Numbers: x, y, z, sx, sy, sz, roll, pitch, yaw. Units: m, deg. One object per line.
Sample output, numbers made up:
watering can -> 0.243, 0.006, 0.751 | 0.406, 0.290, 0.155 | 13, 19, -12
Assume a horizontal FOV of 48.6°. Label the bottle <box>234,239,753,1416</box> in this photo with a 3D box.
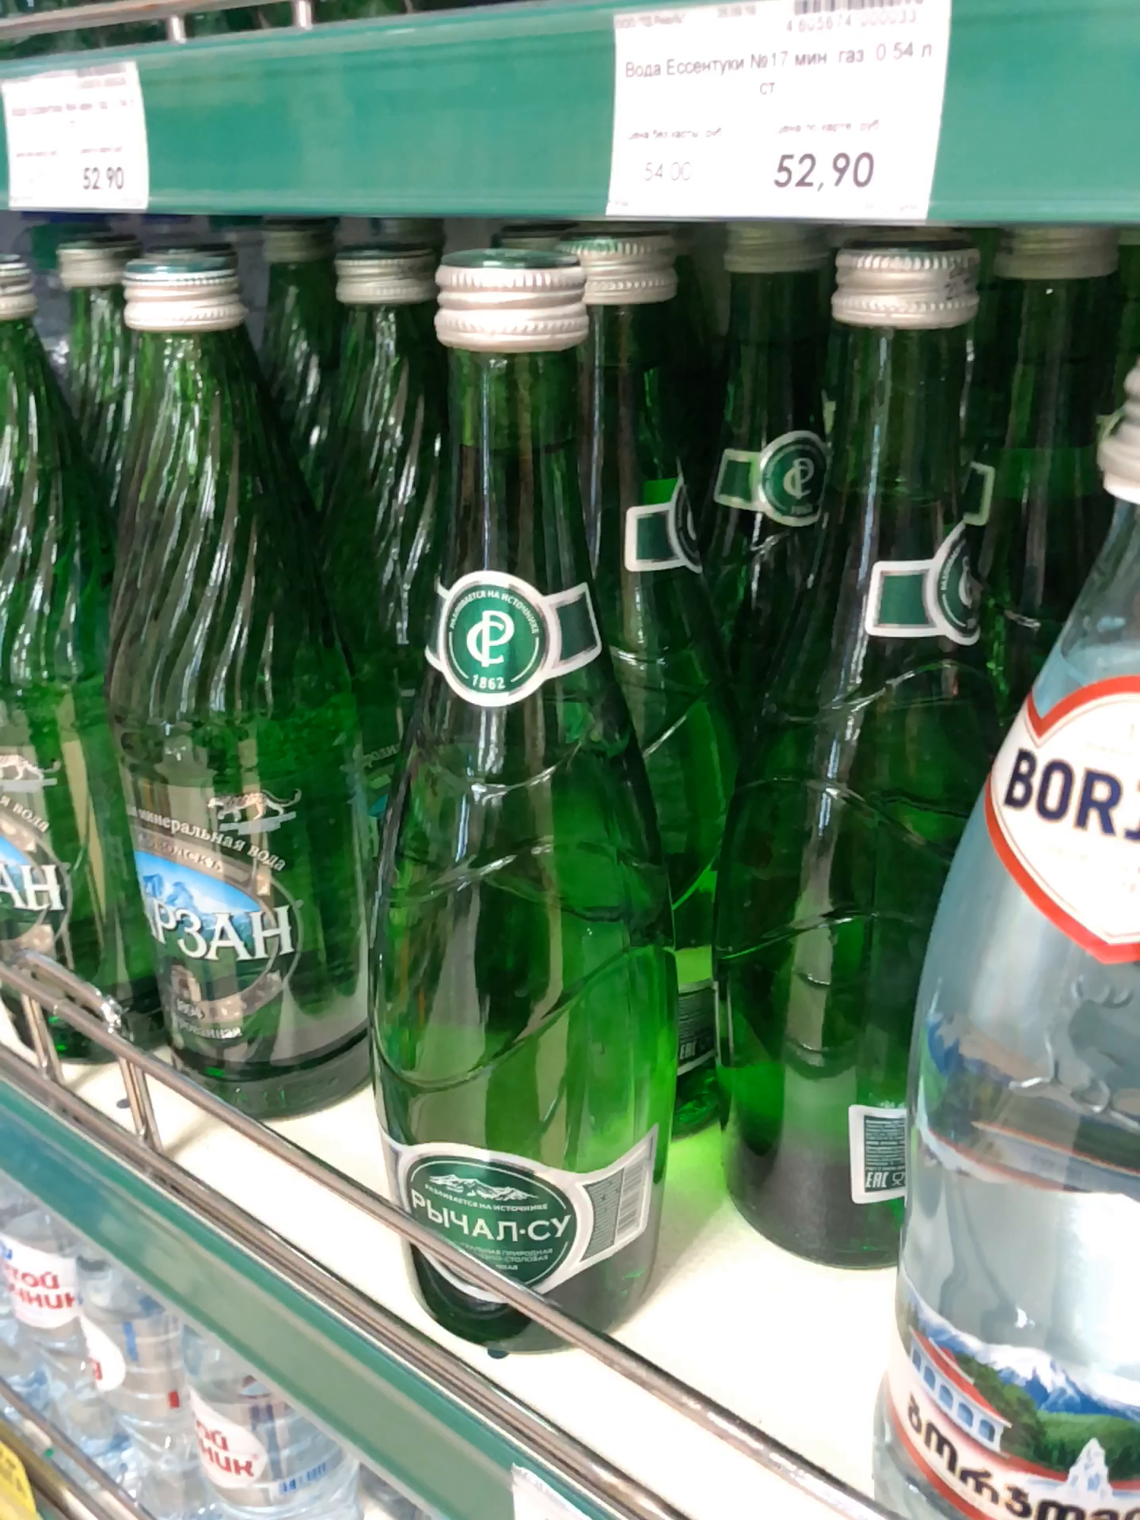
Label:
bottle -> -0.007, 0.022, 0.291 | 0.080, 0.259, 0.070 | 5, 25, 14
